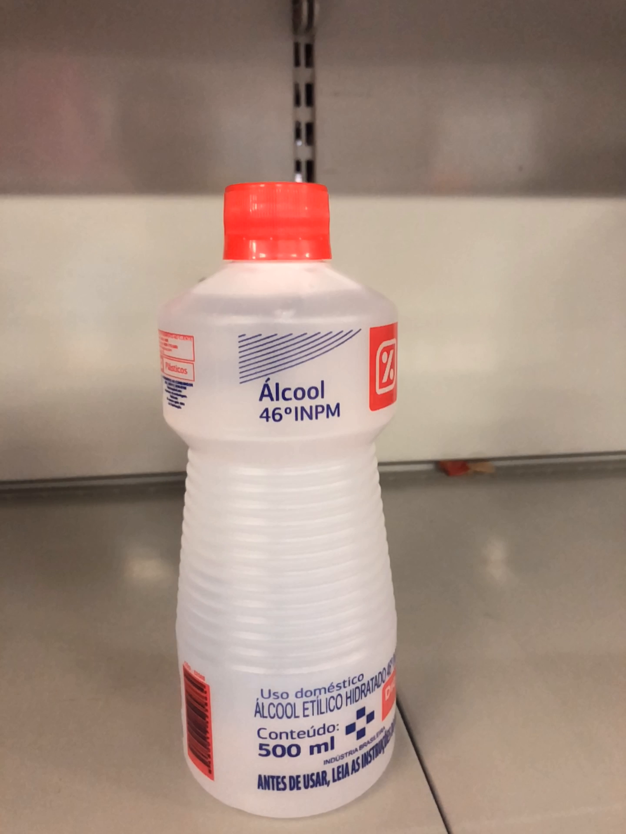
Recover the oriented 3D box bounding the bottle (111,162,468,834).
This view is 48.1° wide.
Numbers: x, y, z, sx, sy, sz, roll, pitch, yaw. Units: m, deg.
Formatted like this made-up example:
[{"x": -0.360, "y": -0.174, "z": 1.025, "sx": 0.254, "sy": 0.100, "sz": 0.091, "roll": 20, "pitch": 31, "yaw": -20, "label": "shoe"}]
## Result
[{"x": -0.010, "y": 0.020, "z": 0.220, "sx": 0.080, "sy": 0.179, "sz": 0.080, "roll": -1, "pitch": 13, "yaw": 0, "label": "bottle"}]
